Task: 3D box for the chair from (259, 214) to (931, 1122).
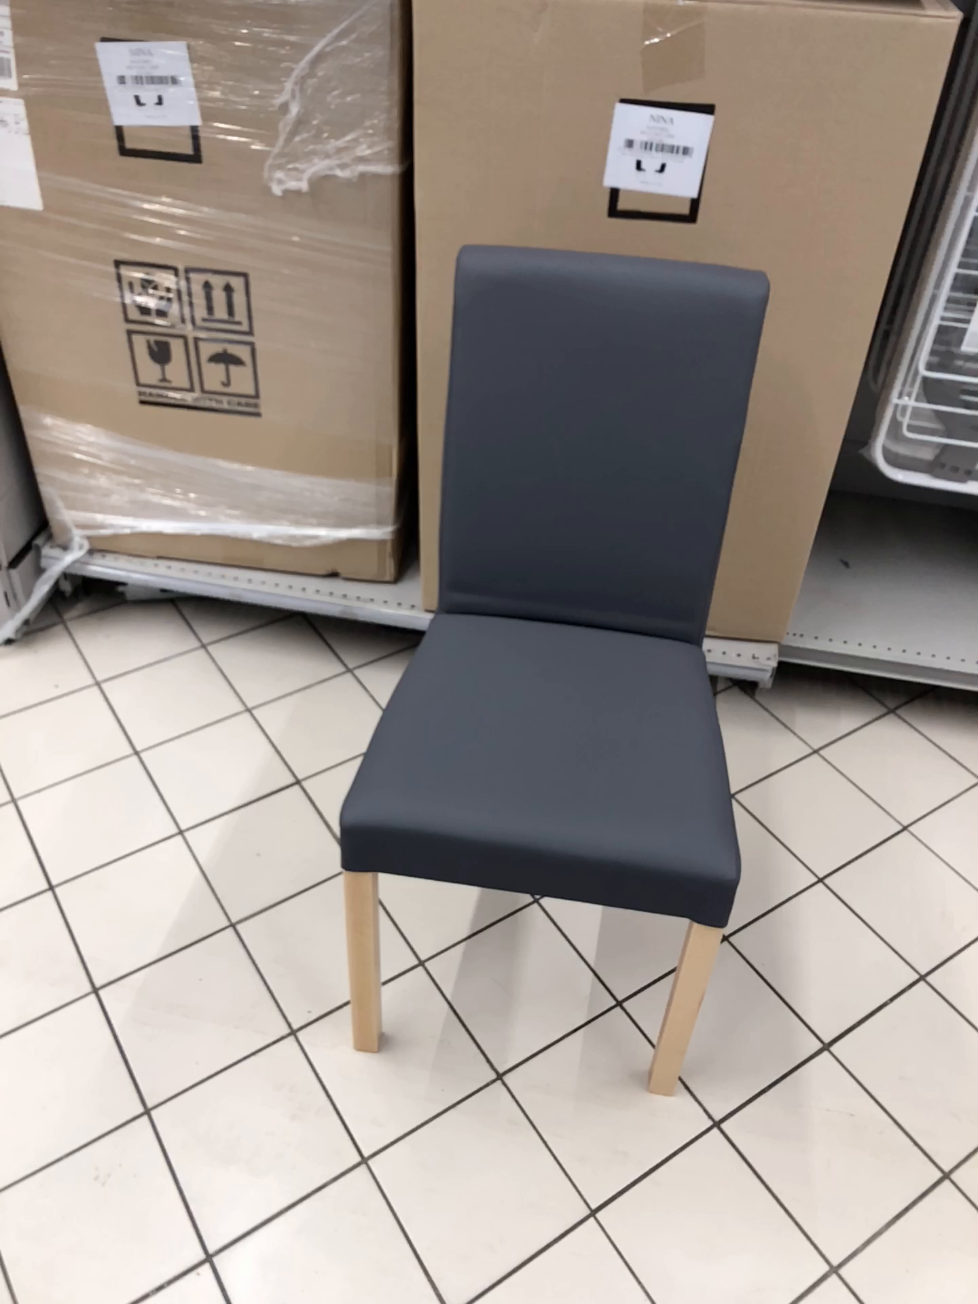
[{"bbox_3d":[0.093,0.033,1.236,0.470,0.825,0.574,6,41,4],"label":"chair"}]
